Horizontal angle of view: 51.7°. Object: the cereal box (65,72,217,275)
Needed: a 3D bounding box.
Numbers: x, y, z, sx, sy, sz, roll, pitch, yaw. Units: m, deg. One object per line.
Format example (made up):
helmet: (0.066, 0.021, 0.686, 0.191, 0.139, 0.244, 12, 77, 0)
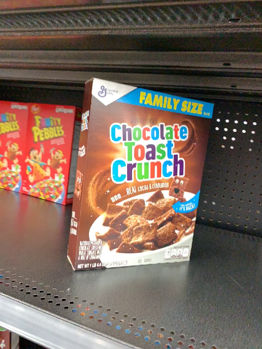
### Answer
cereal box: (0.018, 0.005, 0.502, 0.240, 0.319, 0.070, 3, 9, -25)
